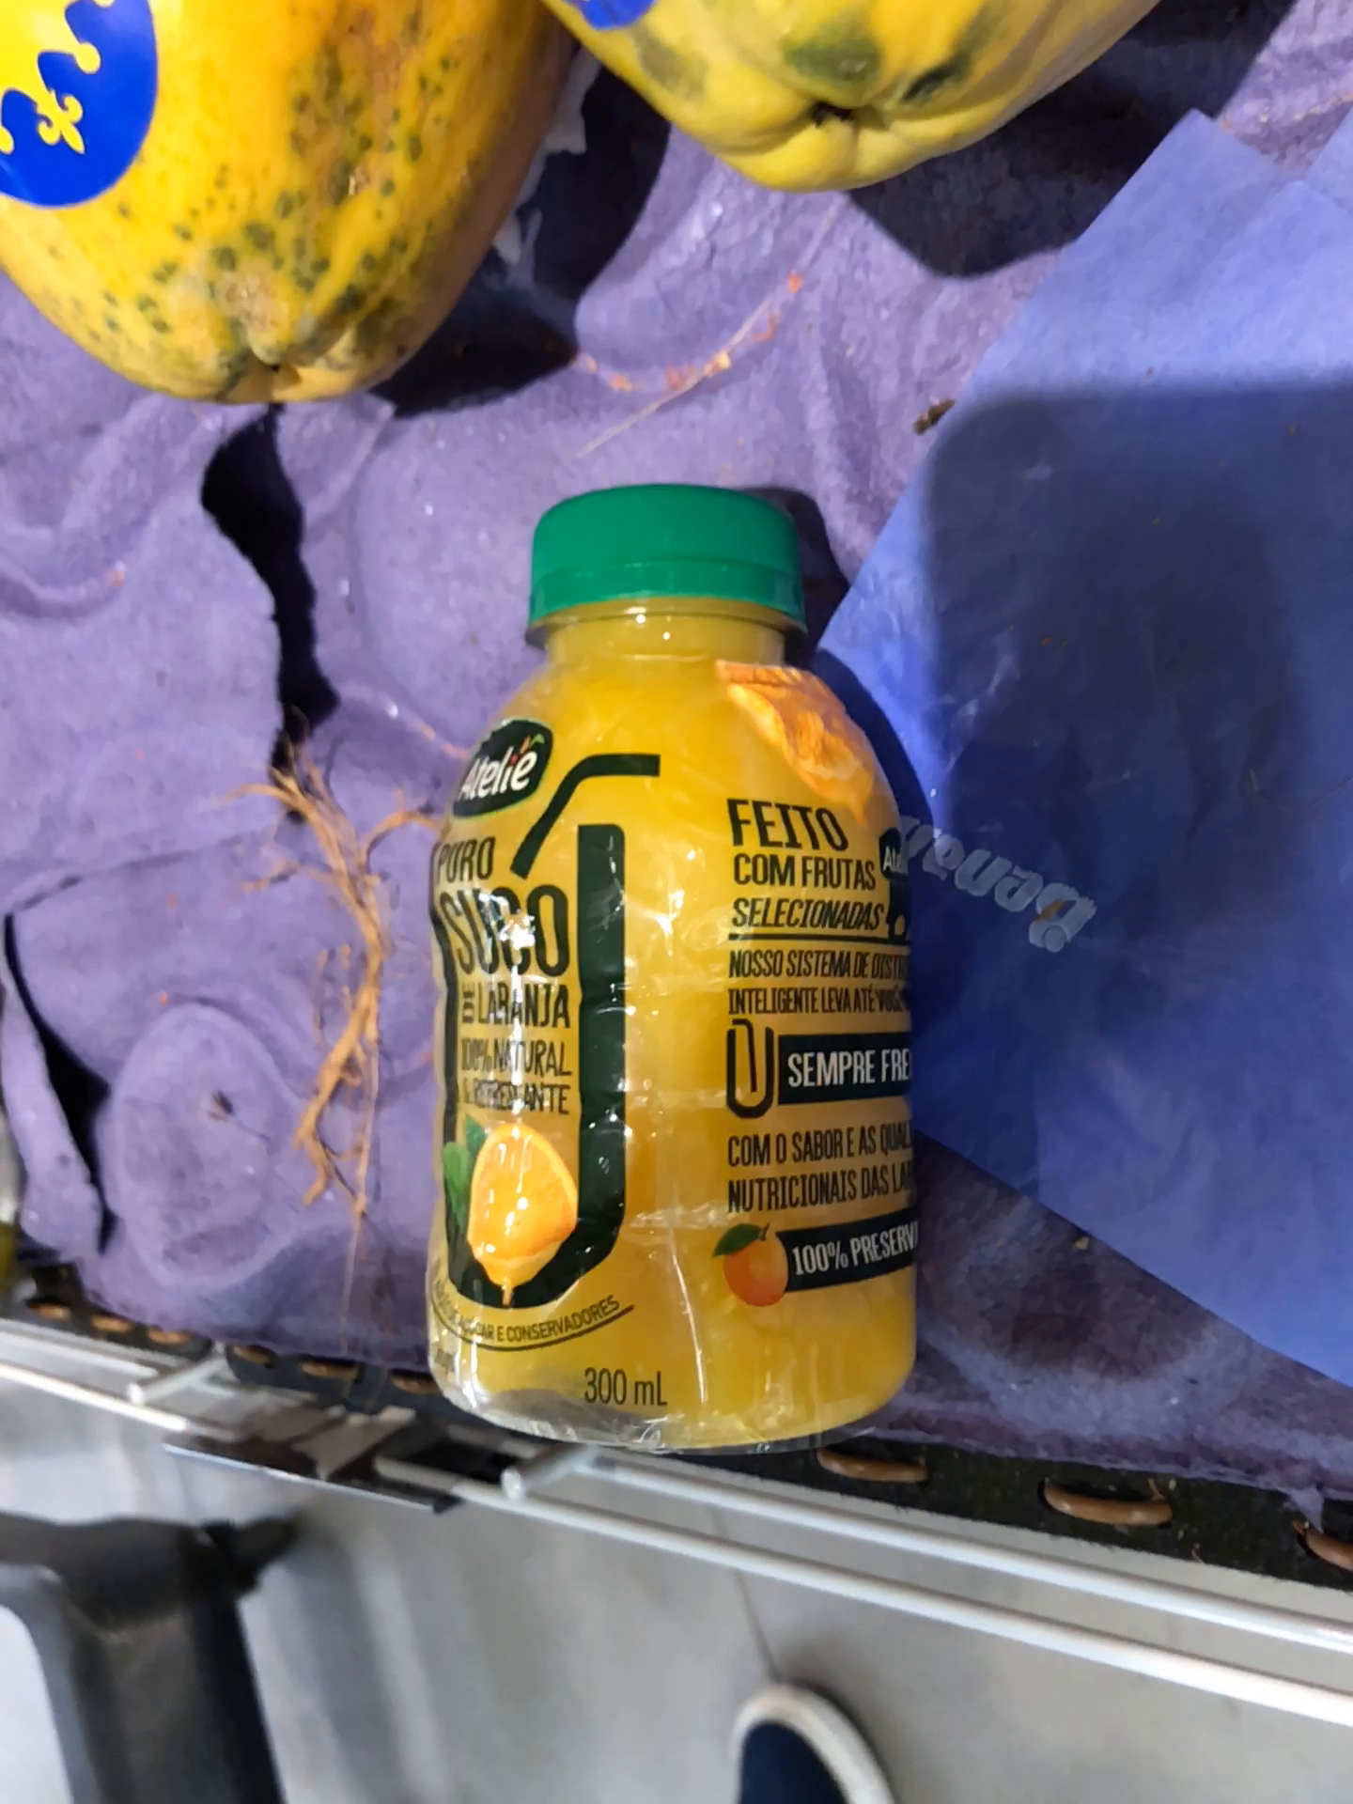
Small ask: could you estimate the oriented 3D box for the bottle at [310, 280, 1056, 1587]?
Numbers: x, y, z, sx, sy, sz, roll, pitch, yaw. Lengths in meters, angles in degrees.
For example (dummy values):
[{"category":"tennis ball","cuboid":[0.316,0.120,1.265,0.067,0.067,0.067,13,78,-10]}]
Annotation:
[{"category":"bottle","cuboid":[0.001,0.003,0.208,0.070,0.060,0.140,-2,93,41]}]
